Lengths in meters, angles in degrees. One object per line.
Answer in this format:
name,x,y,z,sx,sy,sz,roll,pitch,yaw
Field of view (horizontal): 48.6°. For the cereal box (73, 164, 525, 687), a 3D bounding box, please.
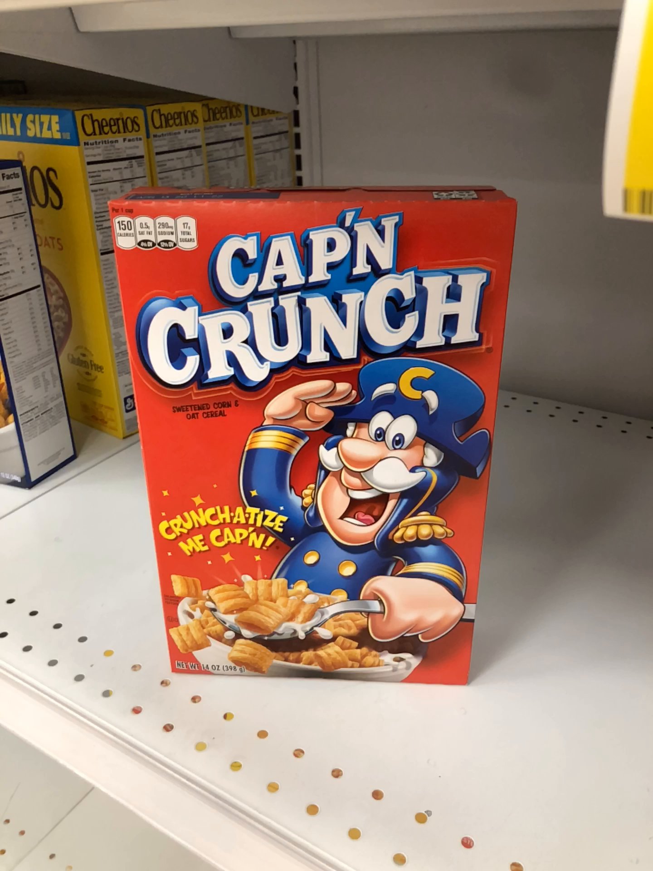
cereal box,-0.011,0.005,0.435,0.210,0.309,0.070,2,27,4
